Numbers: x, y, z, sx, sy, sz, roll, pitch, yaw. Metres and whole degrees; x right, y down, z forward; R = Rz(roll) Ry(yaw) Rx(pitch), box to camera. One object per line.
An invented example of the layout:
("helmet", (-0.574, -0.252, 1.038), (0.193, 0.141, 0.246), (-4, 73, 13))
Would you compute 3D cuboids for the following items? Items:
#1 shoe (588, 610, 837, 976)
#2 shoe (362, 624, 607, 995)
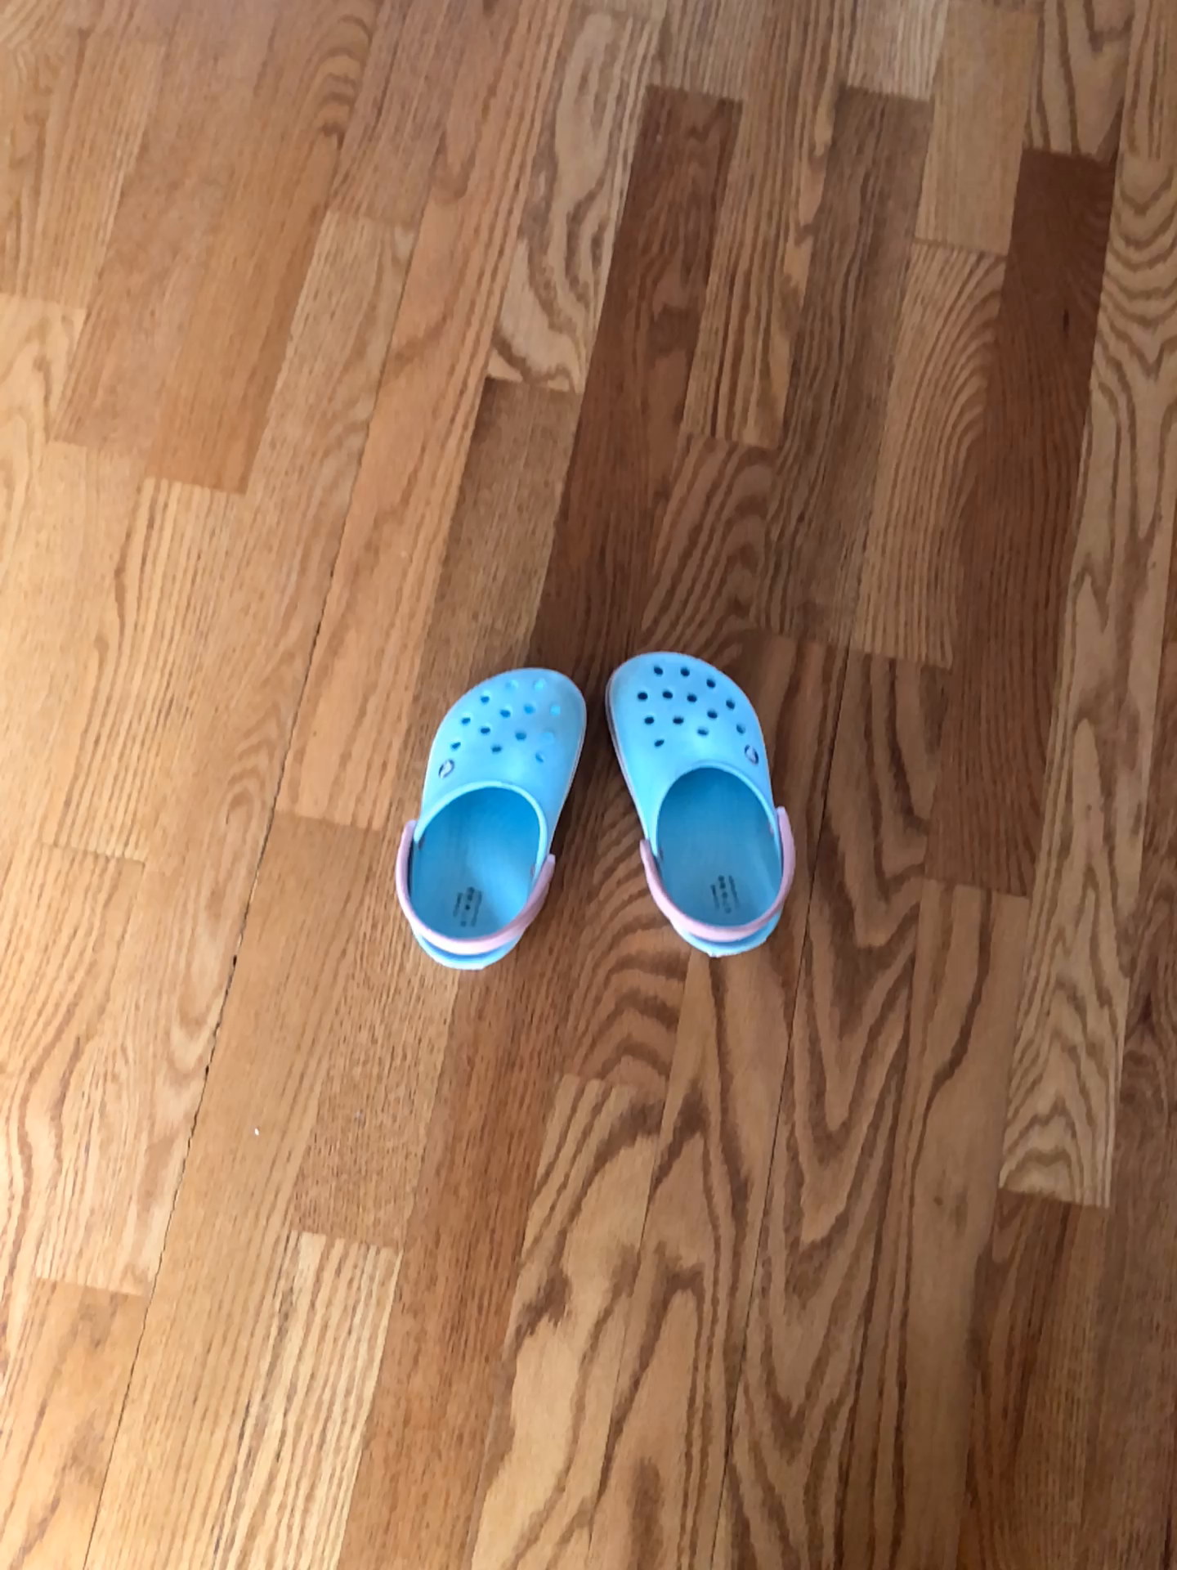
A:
("shoe", (0.059, 0.004, 0.656), (0.083, 0.048, 0.165), (-12, 77, -5))
("shoe", (-0.050, 0.014, 0.653), (0.083, 0.057, 0.165), (12, 76, 1))
